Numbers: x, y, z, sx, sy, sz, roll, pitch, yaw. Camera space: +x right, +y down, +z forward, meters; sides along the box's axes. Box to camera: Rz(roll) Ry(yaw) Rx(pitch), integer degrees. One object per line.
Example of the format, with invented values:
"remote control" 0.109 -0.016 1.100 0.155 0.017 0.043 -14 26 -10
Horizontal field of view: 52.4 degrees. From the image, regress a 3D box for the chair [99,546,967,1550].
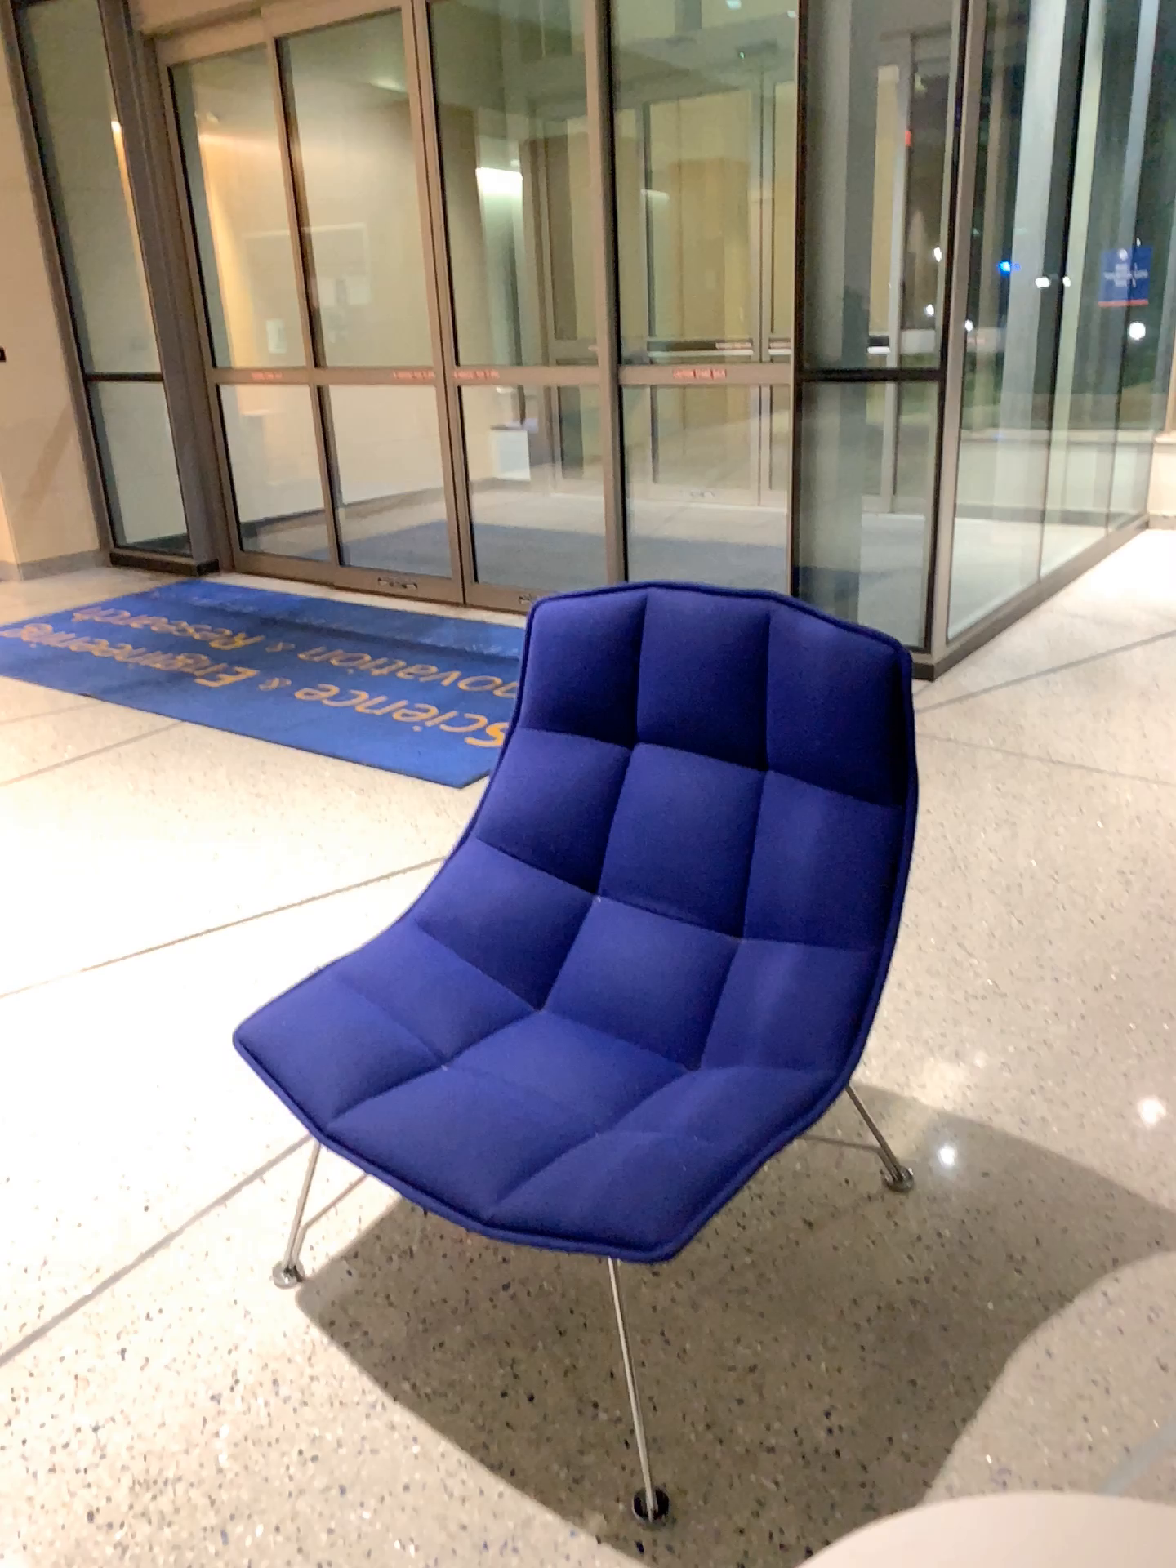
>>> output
"chair" -0.030 0.229 1.706 0.810 0.934 0.783 13 26 35
